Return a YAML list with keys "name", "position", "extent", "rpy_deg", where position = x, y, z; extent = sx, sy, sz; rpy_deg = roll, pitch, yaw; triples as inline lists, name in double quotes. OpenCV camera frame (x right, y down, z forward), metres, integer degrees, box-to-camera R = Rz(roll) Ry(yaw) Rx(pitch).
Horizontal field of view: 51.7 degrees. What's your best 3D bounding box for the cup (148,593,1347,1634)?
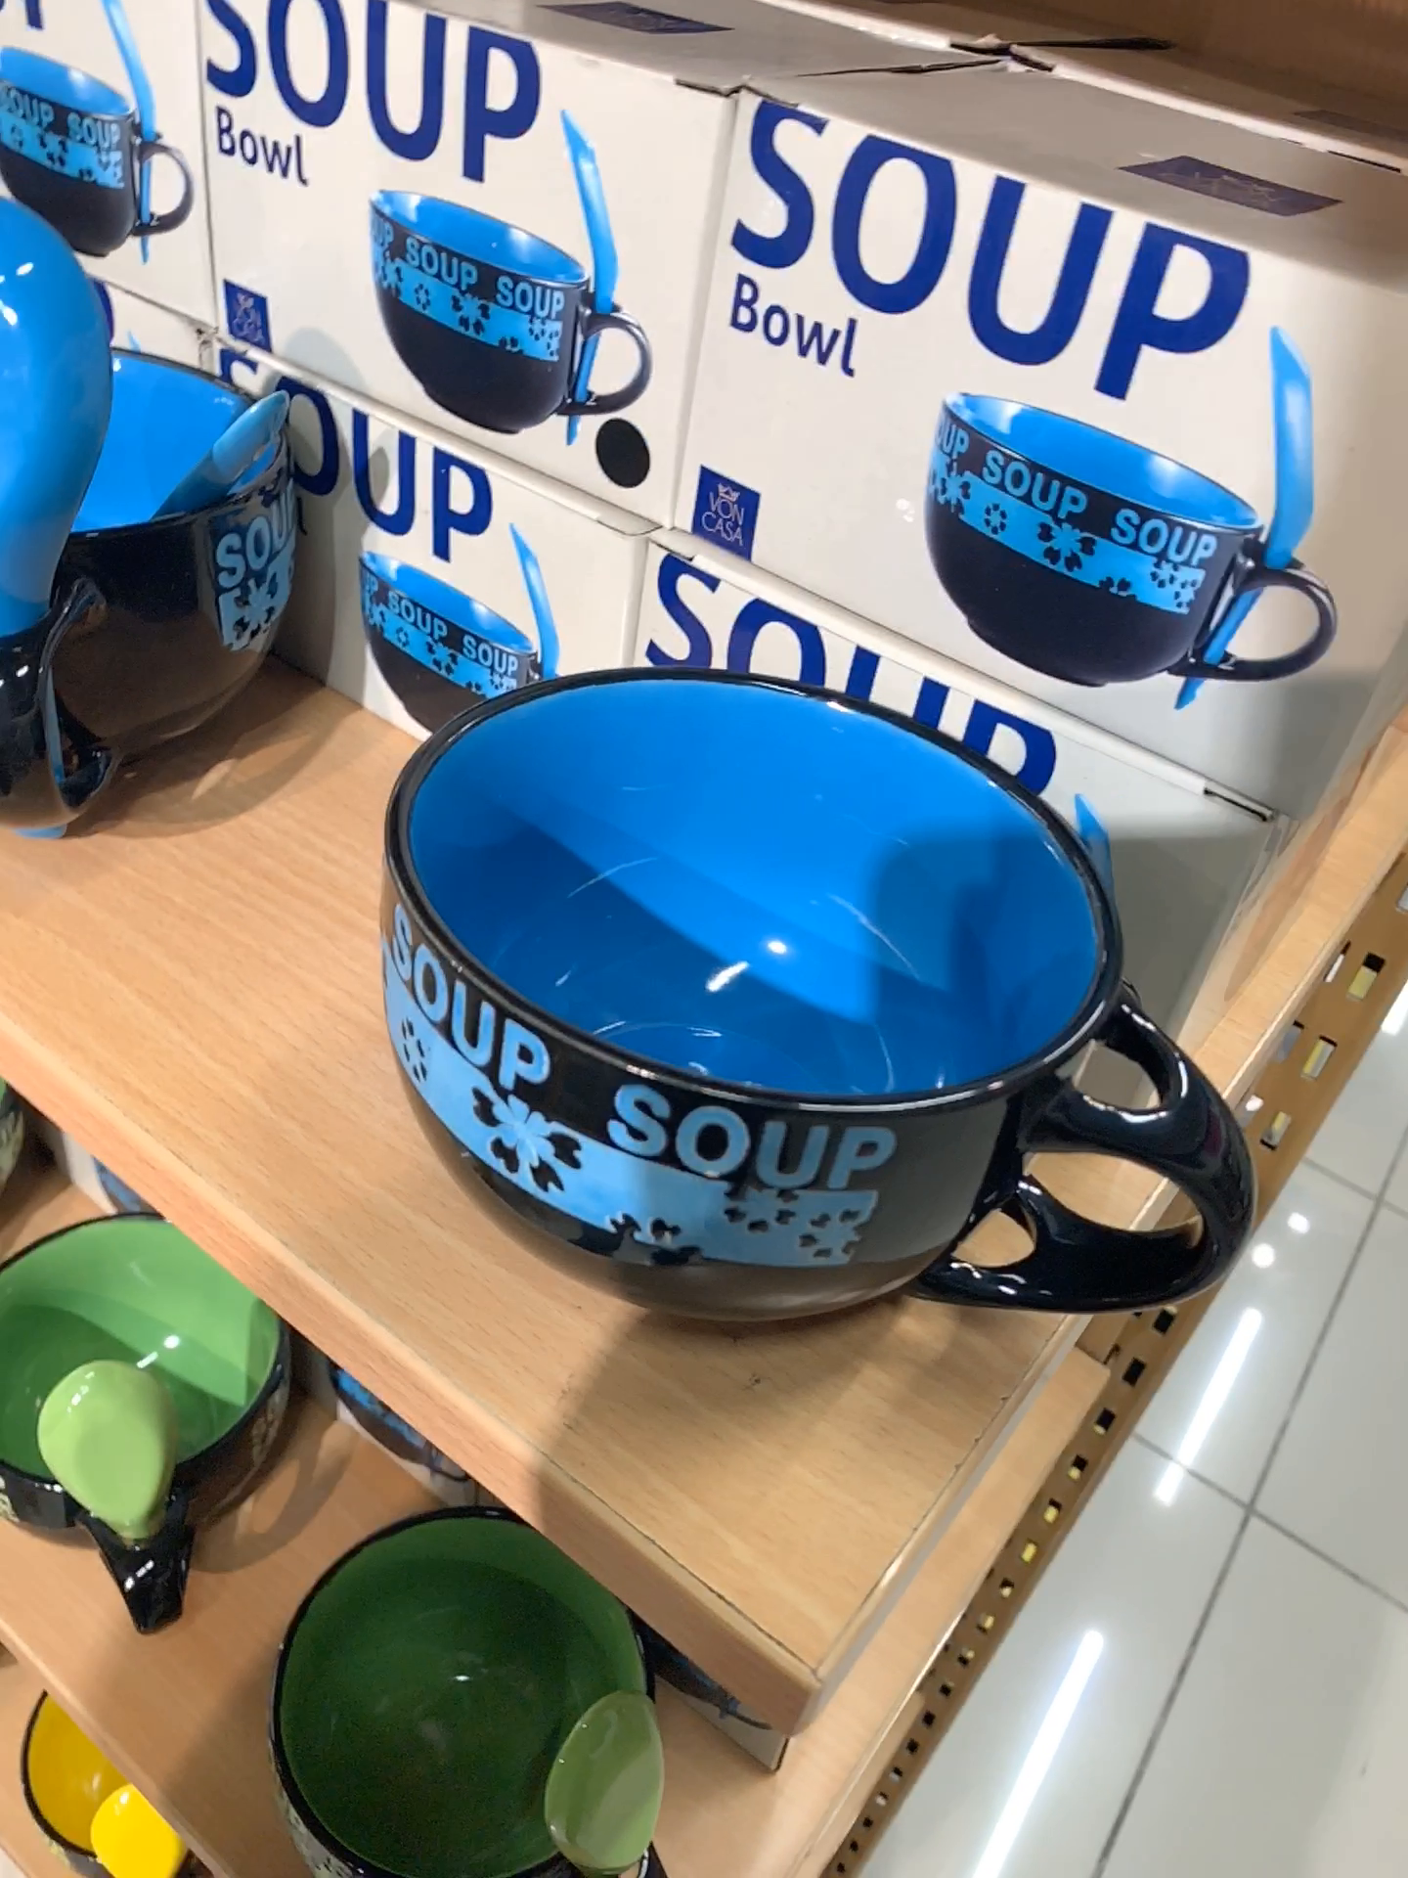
- name: "cup"
  position: [0.009, 0.014, 0.230]
  extent: [0.150, 0.060, 0.100]
  rpy_deg: [24, 39, 15]
